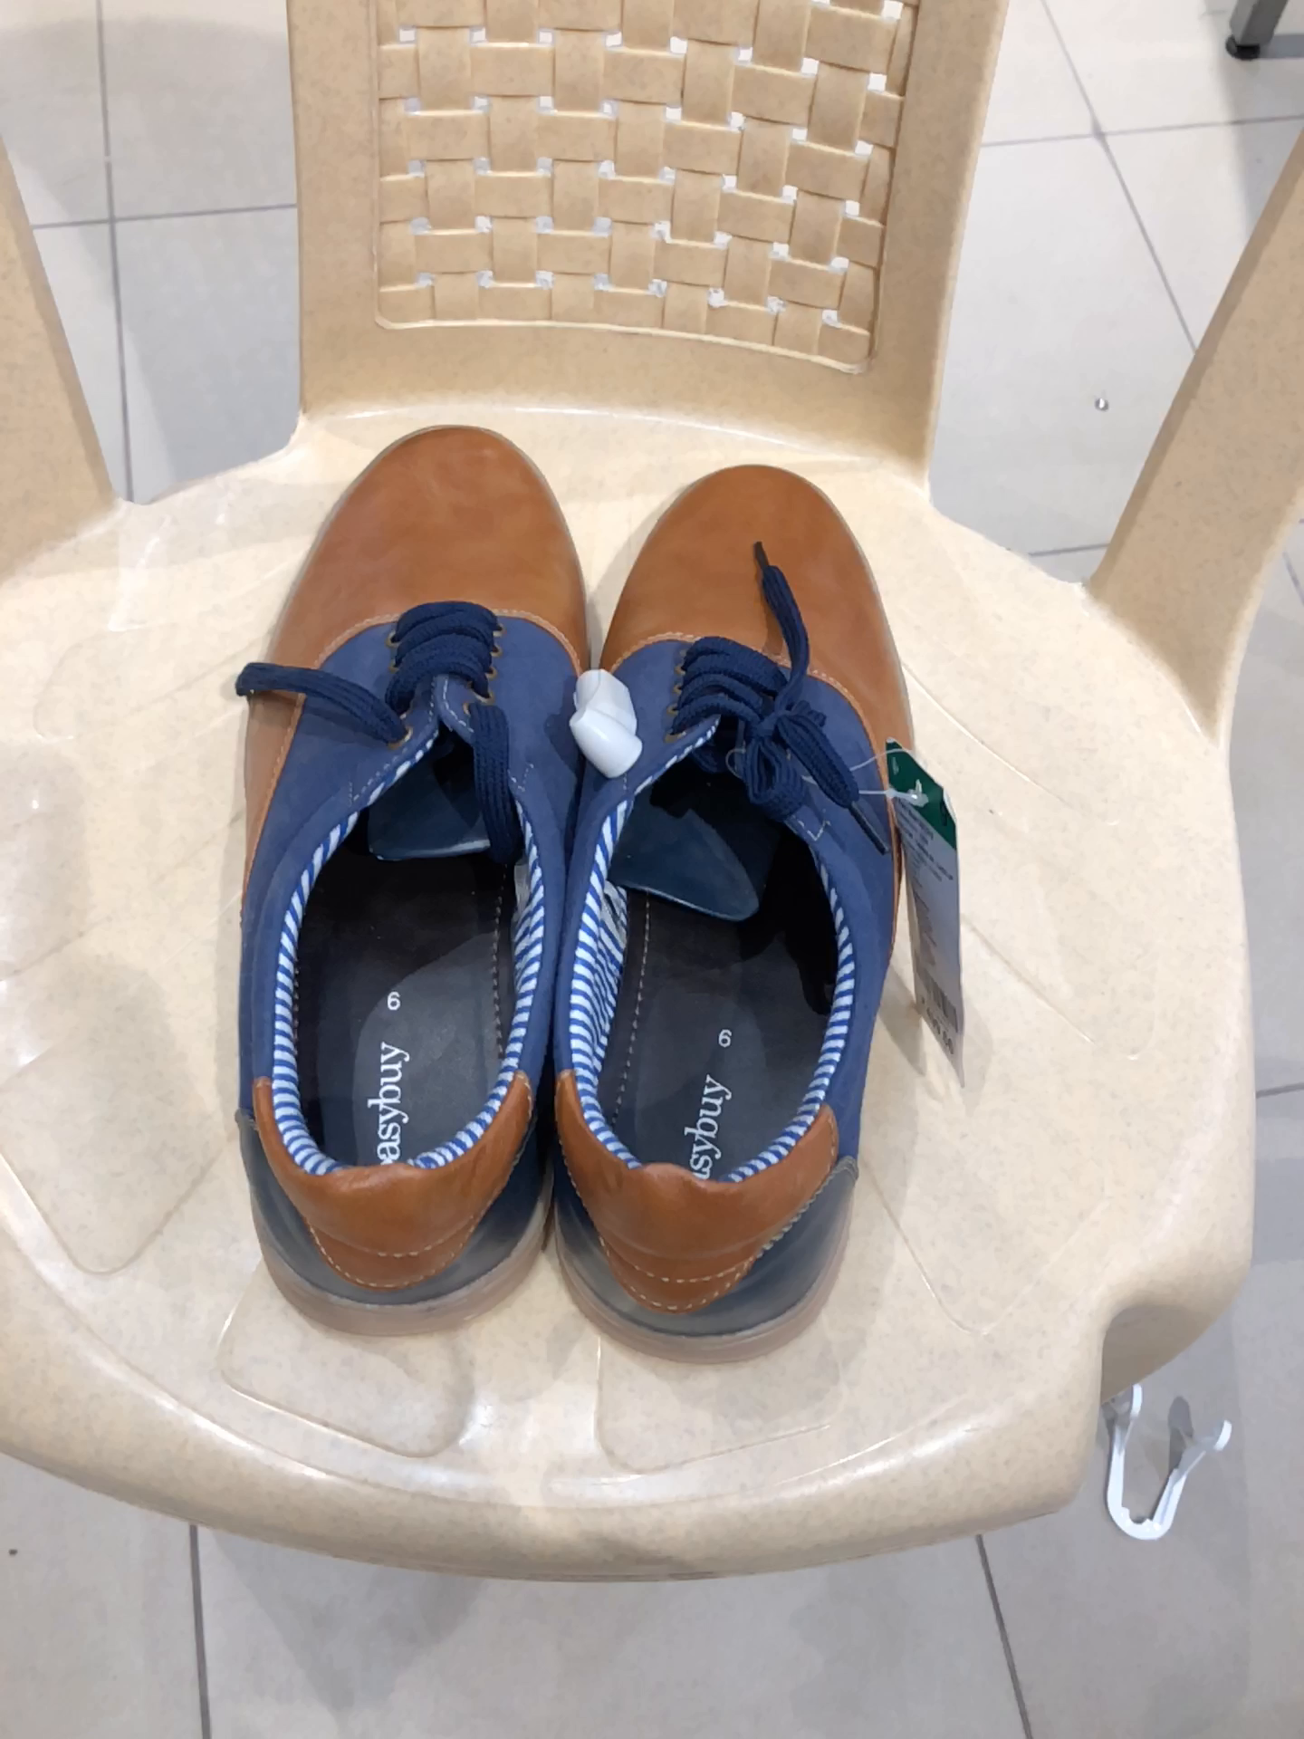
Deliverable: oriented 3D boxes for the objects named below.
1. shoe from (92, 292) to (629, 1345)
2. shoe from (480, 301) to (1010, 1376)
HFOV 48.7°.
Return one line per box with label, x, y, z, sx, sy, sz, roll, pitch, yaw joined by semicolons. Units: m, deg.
shoe;-0.065;-0.014;0.383;0.103;0.112;0.254;-1;66;-4
shoe;0.025;-0.006;0.384;0.103;0.120;0.252;6;66;-1
